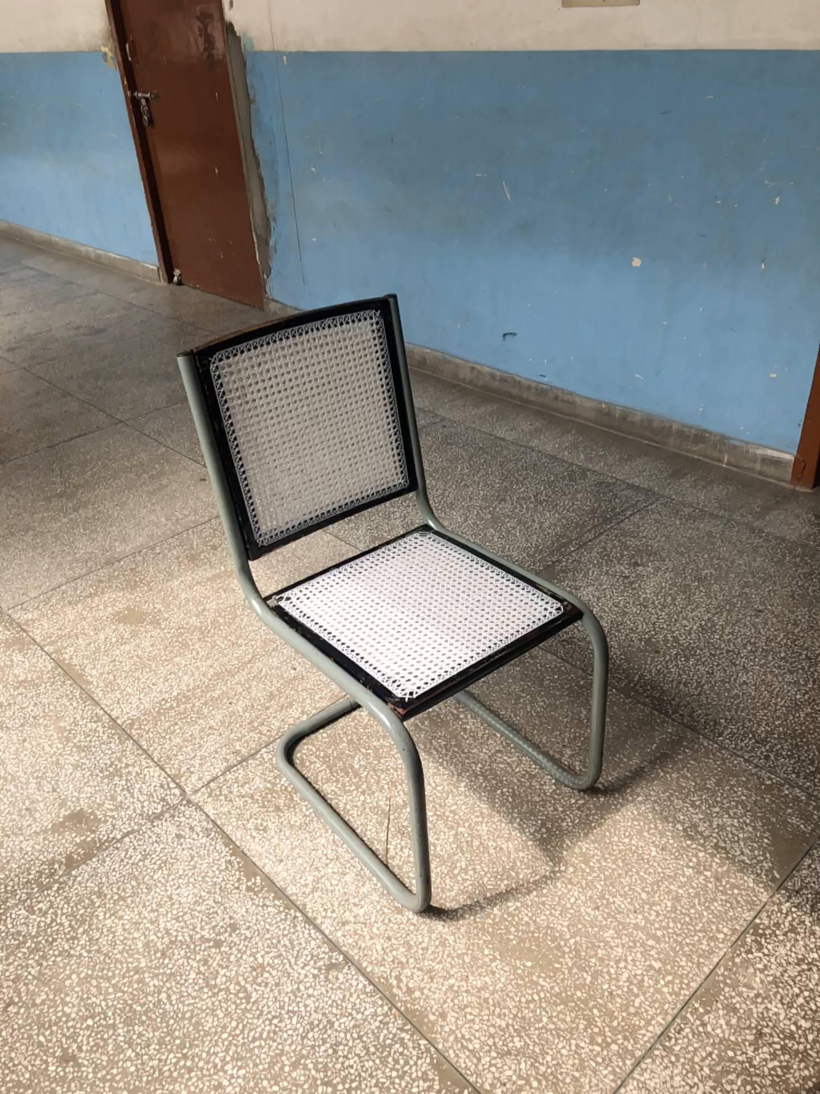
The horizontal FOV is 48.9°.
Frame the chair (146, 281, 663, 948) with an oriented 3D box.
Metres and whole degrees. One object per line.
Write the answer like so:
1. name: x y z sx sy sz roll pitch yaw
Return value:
1. chair: -0.006 0.071 1.500 0.490 0.817 0.572 -25 37 -31
